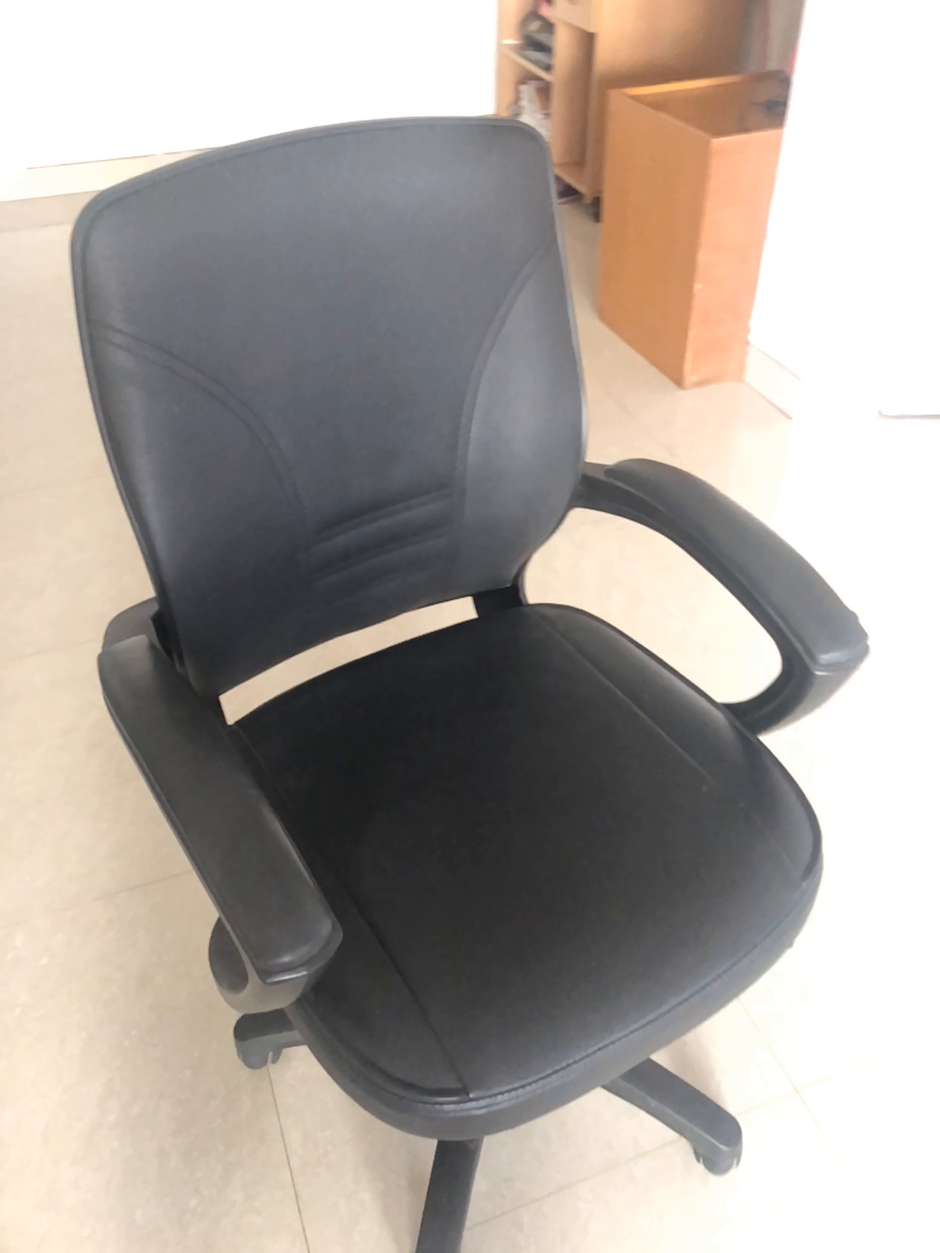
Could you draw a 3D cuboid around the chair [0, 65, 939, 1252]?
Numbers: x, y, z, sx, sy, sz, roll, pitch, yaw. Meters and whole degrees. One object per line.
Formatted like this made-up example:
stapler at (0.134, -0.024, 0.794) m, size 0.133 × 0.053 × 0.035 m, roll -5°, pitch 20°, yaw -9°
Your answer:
chair at (0.033, 0.101, 0.976) m, size 0.701 × 0.953 × 0.634 m, roll -21°, pitch 43°, yaw -22°
